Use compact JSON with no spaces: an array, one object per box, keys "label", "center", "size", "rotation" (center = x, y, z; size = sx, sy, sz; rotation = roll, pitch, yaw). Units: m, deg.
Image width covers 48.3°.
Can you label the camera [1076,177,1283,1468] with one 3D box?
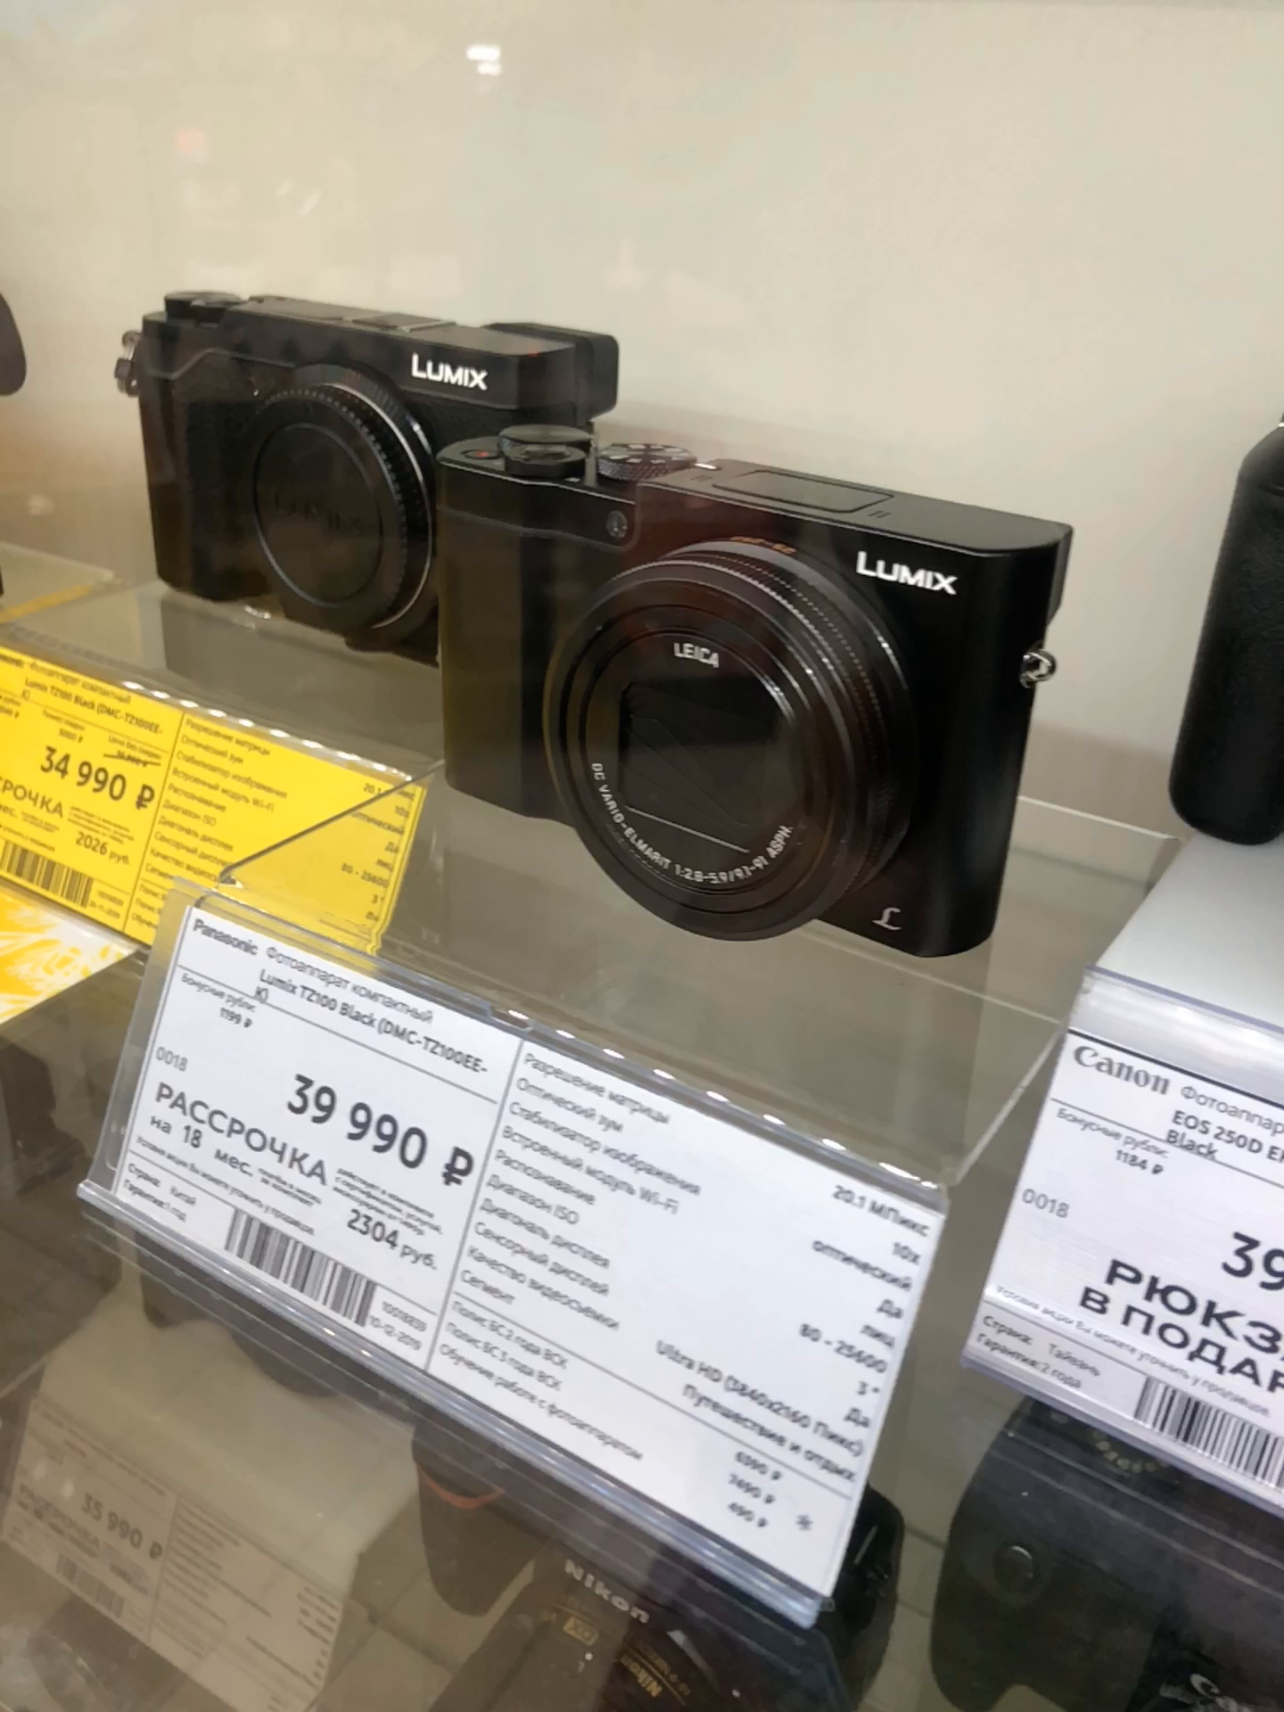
[{"label":"camera","center":[0.177,-0.038,0.216],"size":[0.157,0.099,0.164],"rotation":[19,34,28]}]

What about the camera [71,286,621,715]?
[{"label":"camera","center":[-0.066,-0.085,0.324],"size":[0.108,0.068,0.055],"rotation":[19,32,28]}]

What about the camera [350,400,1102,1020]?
[{"label":"camera","center":[0.008,-0.029,0.235],"size":[0.111,0.068,0.038],"rotation":[19,32,28]}]
